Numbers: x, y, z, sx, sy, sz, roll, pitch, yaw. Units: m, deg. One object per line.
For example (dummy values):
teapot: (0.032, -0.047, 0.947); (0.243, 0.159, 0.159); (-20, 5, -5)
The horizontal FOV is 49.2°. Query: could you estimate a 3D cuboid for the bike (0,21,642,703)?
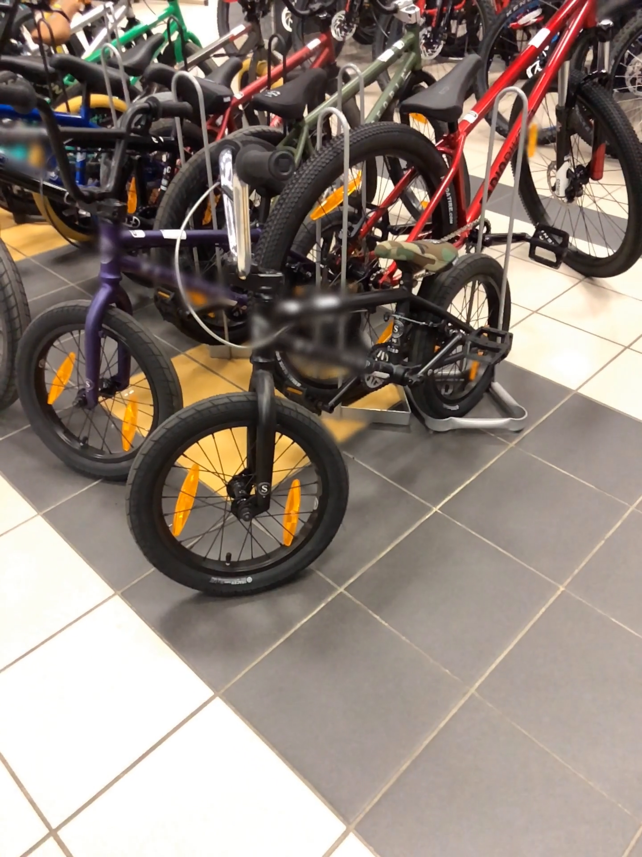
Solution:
bike: (0.088, -0.254, 1.335); (1.074, 0.810, 0.678); (-27, 45, -34)
